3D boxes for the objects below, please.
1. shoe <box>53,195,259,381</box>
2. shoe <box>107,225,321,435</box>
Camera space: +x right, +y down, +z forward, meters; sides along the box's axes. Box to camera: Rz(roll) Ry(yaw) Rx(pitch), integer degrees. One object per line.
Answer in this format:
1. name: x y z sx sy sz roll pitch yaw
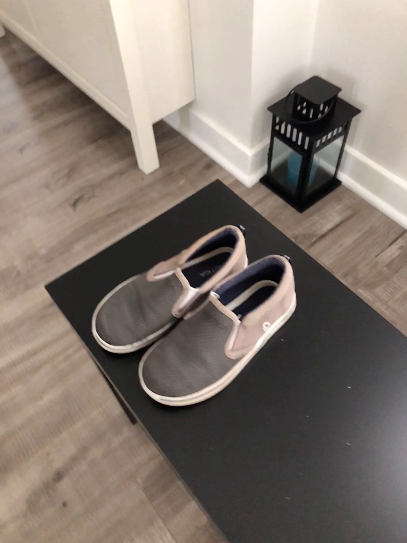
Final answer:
1. shoe: -0.042 0.013 0.463 0.190 0.070 0.078 -34 61 -17
2. shoe: 0.015 0.051 0.431 0.190 0.070 0.078 -39 62 -20
